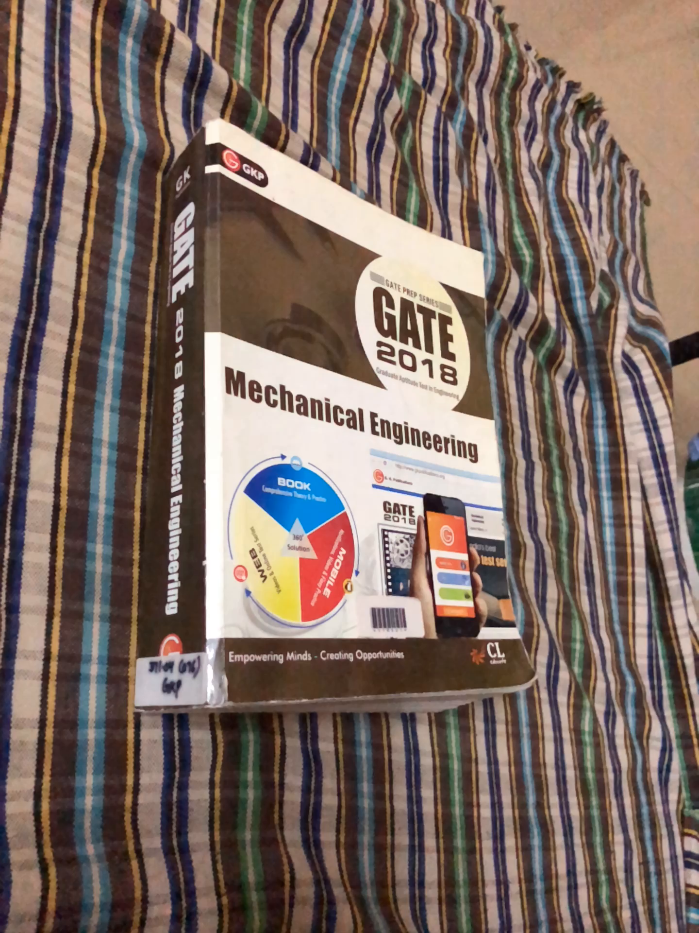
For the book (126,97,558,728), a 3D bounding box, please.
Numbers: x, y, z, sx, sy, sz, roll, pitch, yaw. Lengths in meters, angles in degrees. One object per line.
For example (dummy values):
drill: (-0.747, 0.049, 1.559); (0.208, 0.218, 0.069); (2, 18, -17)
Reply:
book: (0.003, -0.011, 0.403); (0.211, 0.075, 0.264); (14, 66, -43)
